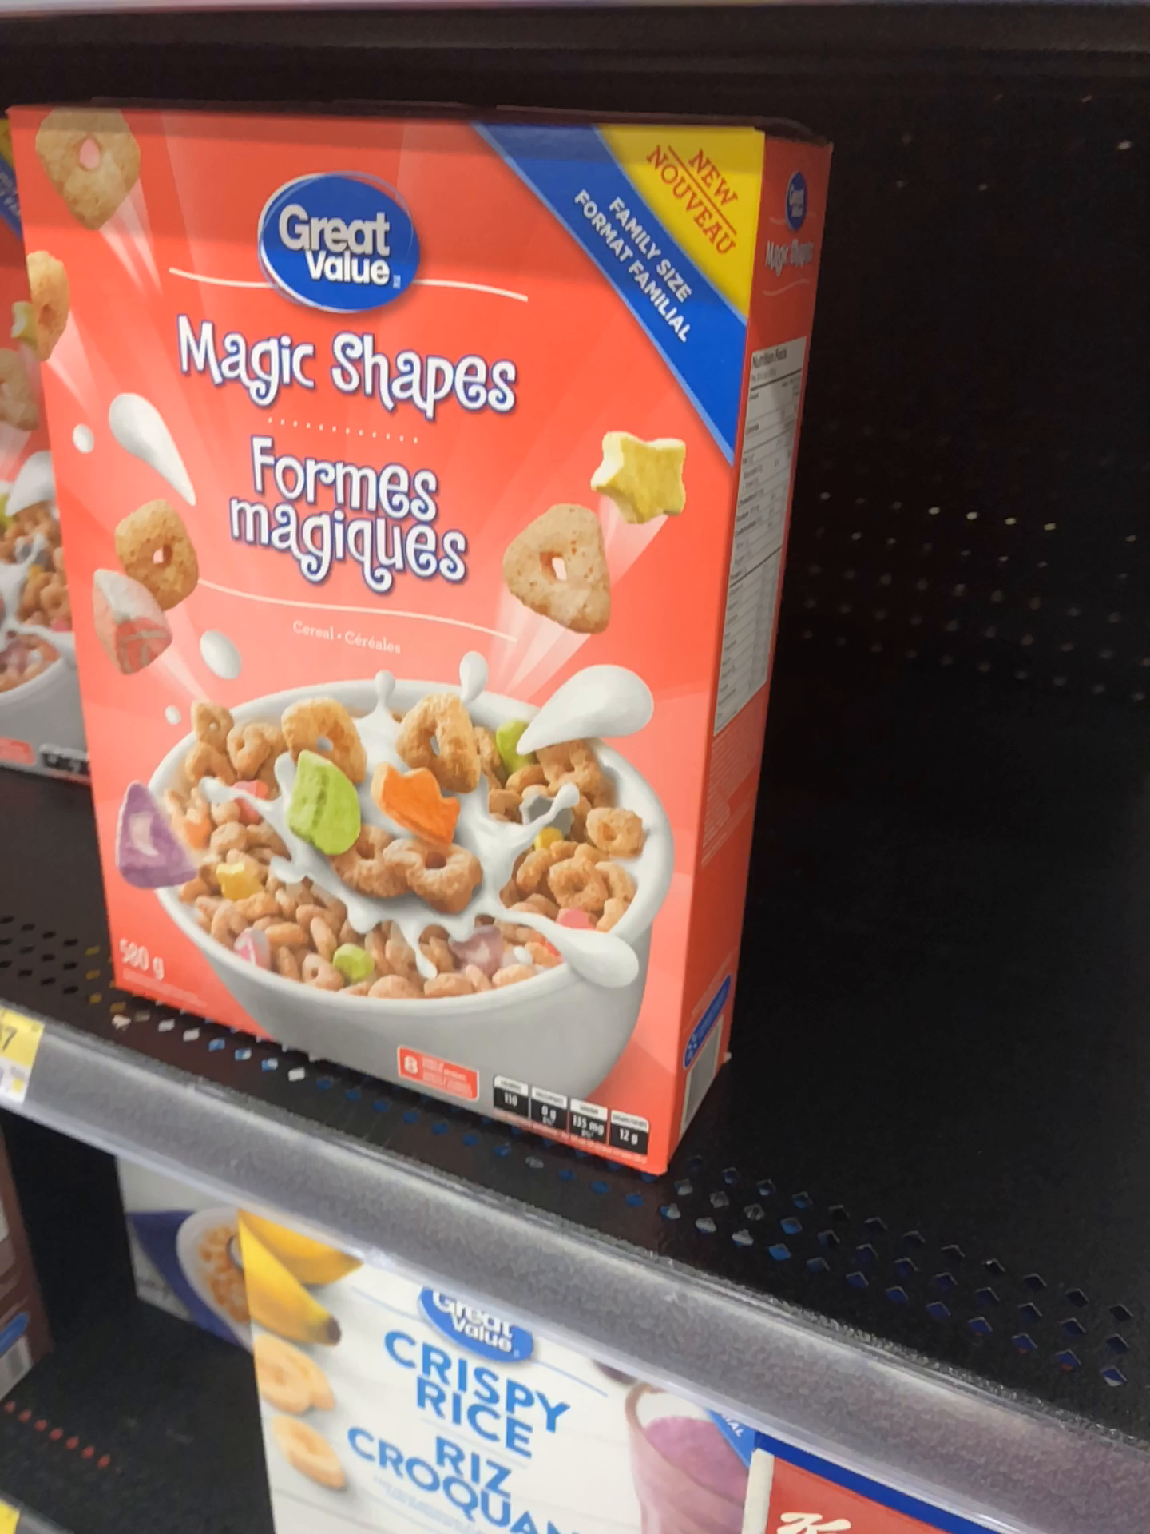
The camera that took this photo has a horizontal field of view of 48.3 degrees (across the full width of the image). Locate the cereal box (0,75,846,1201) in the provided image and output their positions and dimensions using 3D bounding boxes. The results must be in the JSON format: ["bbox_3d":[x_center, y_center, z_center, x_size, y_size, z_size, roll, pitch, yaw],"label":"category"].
[{"bbox_3d":[-0.060,-0.047,0.452,0.250,0.339,0.080,13,25,22],"label":"cereal box"}]
